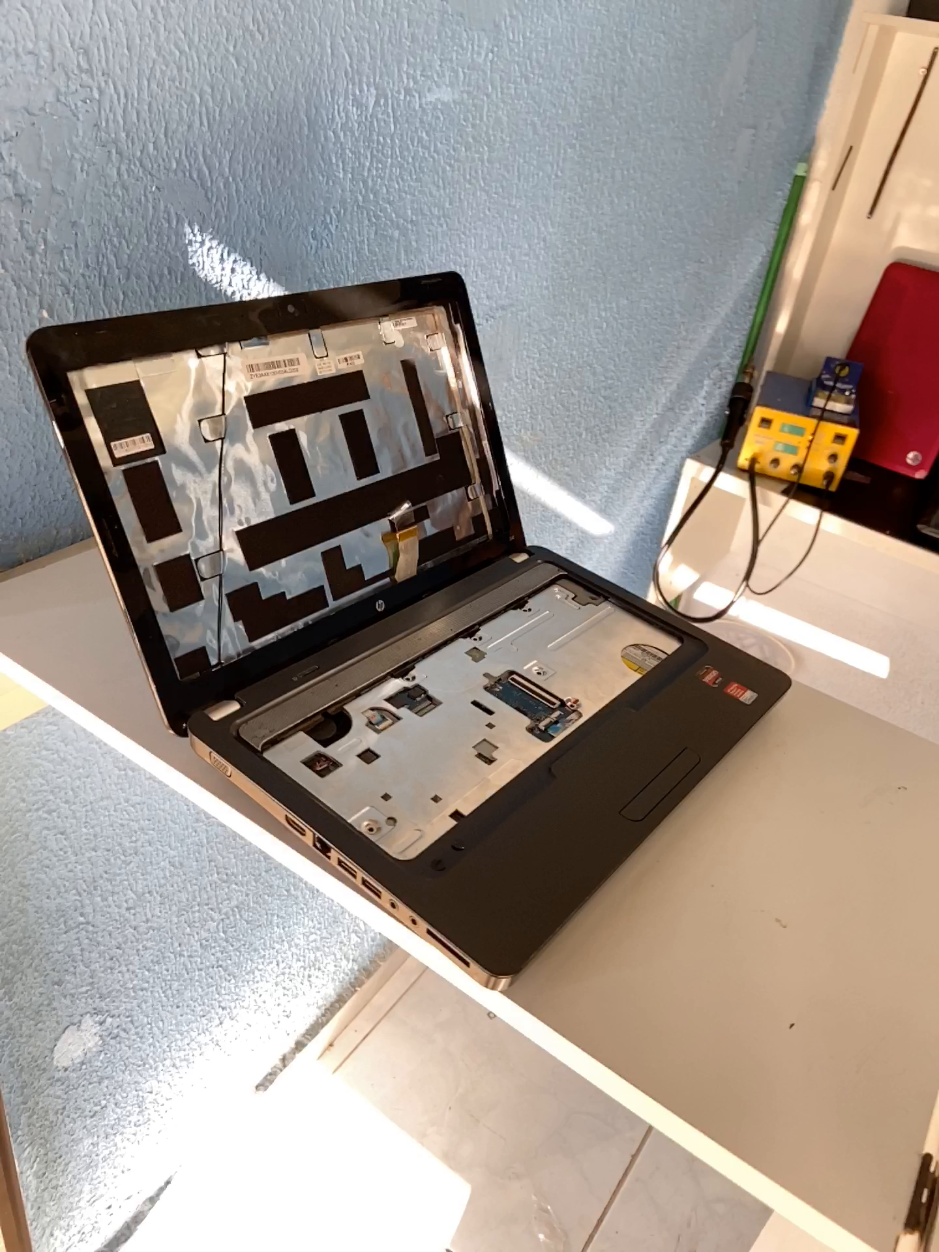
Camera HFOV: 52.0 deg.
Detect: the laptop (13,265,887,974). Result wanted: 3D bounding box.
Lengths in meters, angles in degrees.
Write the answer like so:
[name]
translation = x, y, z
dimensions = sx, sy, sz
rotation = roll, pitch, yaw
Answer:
[laptop]
translation = -0.003, -0.059, 0.577
dimensions = 0.349, 0.179, 0.339
rotation = 30, 37, 26
